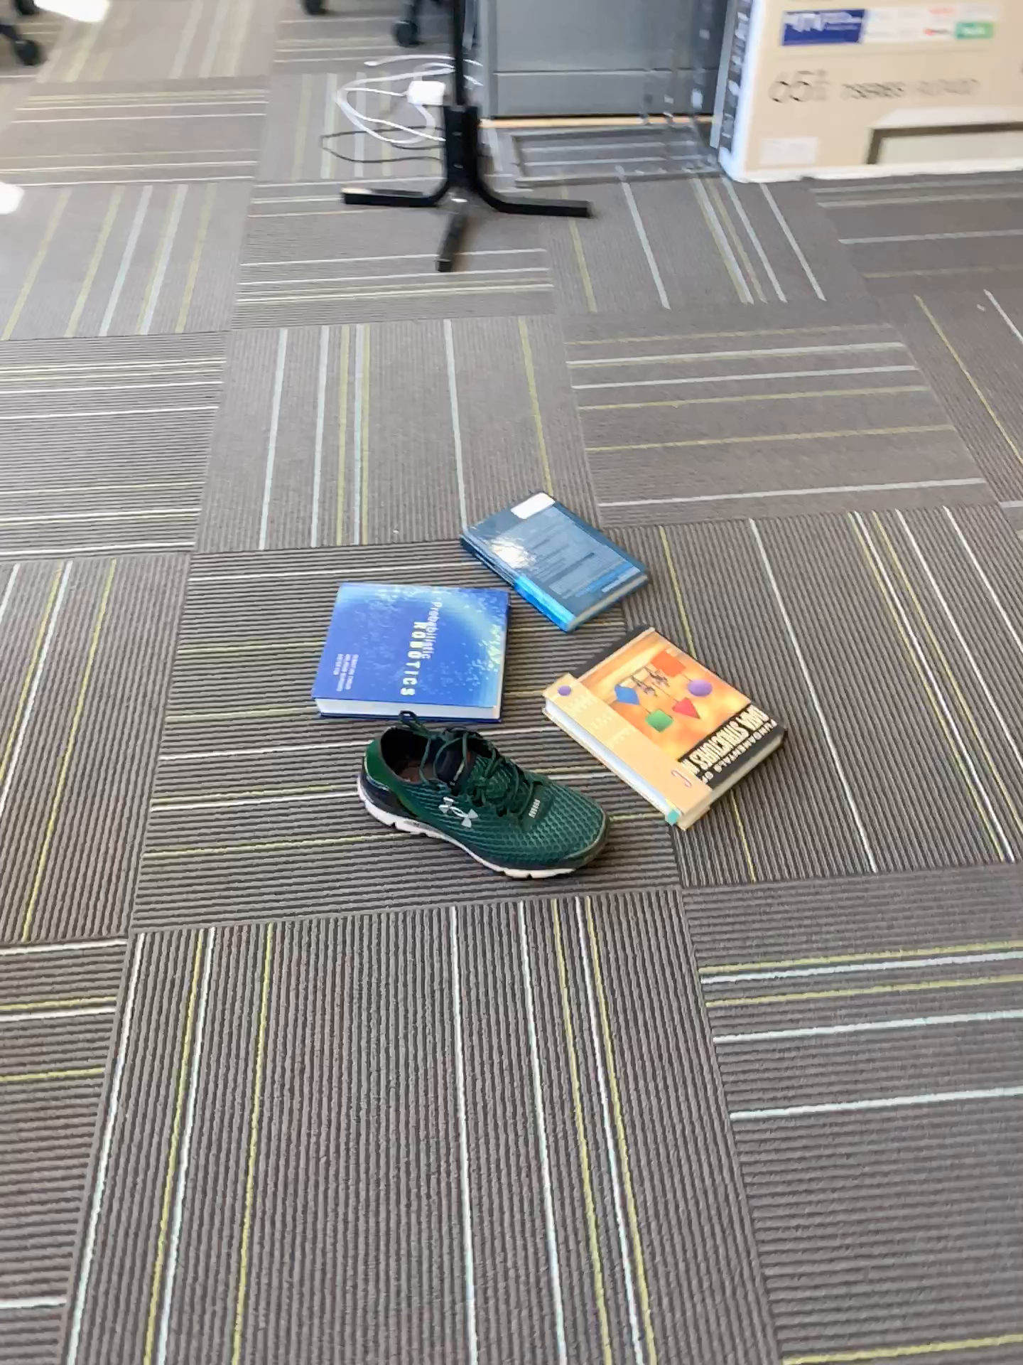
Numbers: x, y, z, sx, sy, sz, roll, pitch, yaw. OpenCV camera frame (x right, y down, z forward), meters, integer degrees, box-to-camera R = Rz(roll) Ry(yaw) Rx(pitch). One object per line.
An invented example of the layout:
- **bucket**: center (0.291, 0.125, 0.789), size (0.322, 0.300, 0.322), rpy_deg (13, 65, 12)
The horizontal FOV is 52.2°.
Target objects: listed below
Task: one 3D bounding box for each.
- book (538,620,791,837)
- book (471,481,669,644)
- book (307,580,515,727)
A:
- **book**: center (0.183, 0.047, 1.273), size (0.184, 0.040, 0.243), rpy_deg (-34, 58, -26)
- **book**: center (0.085, -0.188, 1.579), size (0.177, 0.040, 0.247), rpy_deg (-34, 60, -25)
- **book**: center (-0.122, -0.041, 1.342), size (0.242, 0.040, 0.205), rpy_deg (2, 50, 2)
